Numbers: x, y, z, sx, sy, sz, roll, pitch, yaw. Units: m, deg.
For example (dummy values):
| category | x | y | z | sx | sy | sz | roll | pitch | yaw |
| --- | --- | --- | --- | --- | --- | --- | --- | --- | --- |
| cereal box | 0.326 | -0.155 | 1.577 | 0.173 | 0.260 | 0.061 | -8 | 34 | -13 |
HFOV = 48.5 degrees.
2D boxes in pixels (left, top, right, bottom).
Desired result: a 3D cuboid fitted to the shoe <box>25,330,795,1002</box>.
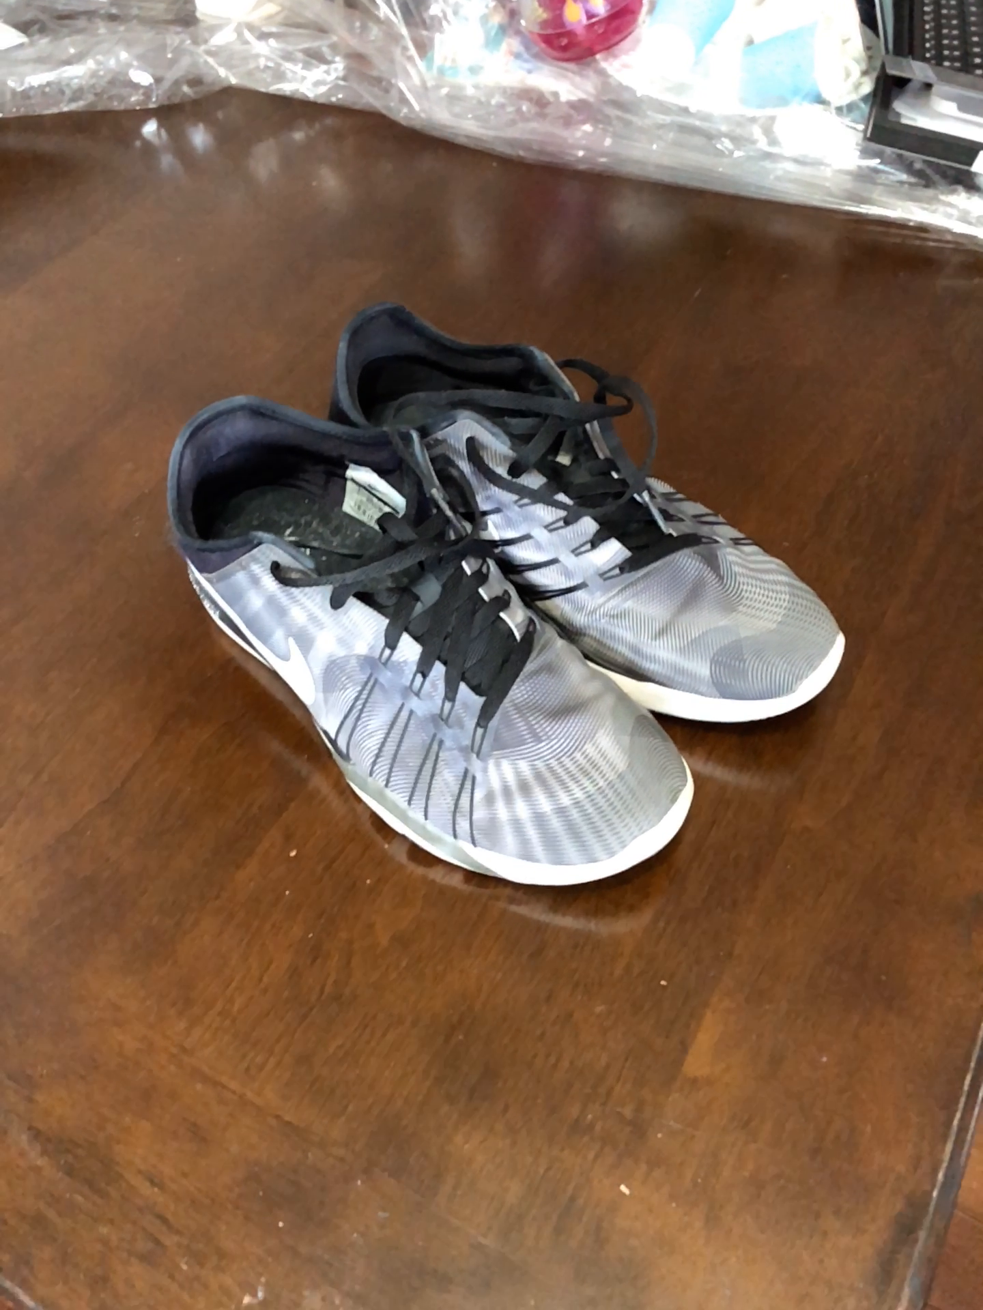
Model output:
| category | x | y | z | sx | sy | sz | roll | pitch | yaw |
| --- | --- | --- | --- | --- | --- | --- | --- | --- | --- |
| shoe | -0.032 | -0.008 | 0.370 | 0.230 | 0.090 | 0.100 | 32 | 59 | 25 |

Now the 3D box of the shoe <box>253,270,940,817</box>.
| category | x | y | z | sx | sy | sz | roll | pitch | yaw |
| --- | --- | --- | --- | --- | --- | --- | --- | --- | --- |
| shoe | 0.032 | -0.054 | 0.422 | 0.230 | 0.080 | 0.100 | 31 | 59 | 25 |
